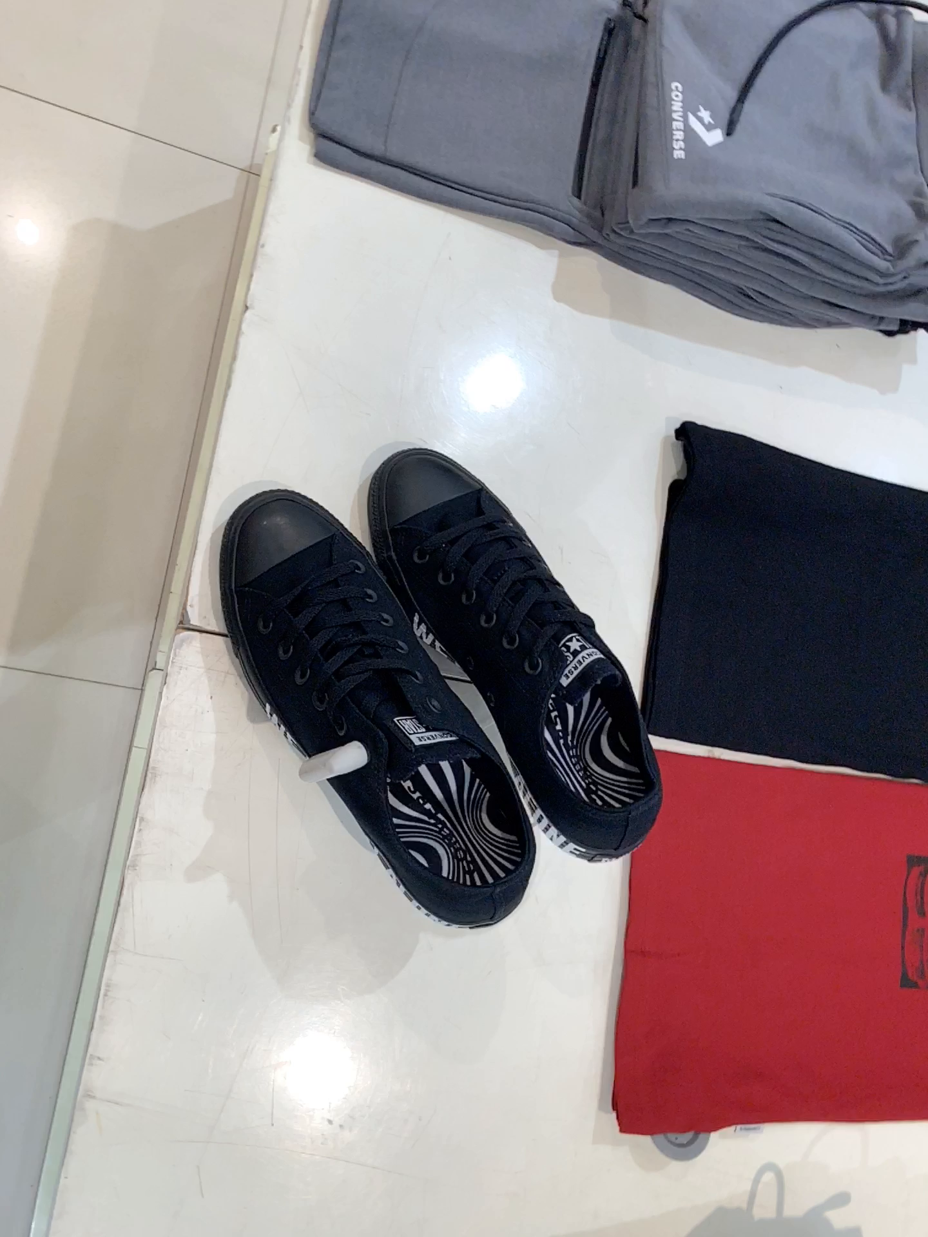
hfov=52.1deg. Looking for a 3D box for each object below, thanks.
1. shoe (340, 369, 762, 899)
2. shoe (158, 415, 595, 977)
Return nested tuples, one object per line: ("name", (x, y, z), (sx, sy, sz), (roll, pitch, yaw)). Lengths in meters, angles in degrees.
("shoe", (0.036, 0.006, 0.561), (0.090, 0.100, 0.290), (-27, 70, -14))
("shoe", (-0.055, 0.036, 0.512), (0.100, 0.100, 0.270), (-25, 69, -18))
